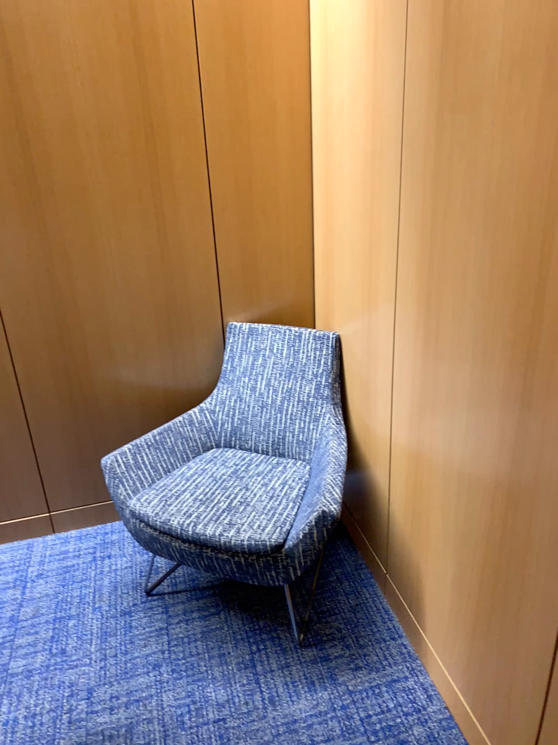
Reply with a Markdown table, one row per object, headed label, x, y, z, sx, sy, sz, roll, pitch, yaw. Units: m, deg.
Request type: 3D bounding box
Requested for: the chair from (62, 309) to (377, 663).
| label | x | y | z | sx | sy | sz | roll | pitch | yaw |
| --- | --- | --- | --- | --- | --- | --- | --- | --- | --- |
| chair | -0.116 | 0.280 | 1.772 | 0.700 | 0.747 | 0.616 | 7 | 25 | 21 |
